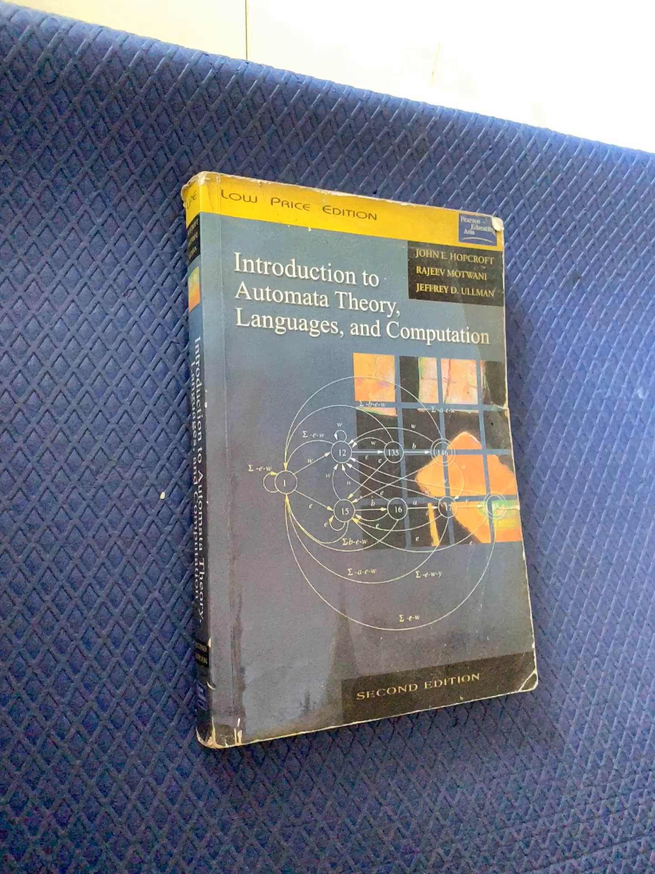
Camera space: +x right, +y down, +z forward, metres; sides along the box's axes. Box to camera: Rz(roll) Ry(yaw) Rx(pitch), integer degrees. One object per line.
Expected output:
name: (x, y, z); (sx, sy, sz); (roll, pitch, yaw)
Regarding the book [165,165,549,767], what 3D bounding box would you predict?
book: (0.011, 0.006, 0.310); (0.150, 0.050, 0.230); (-1, 81, -23)
